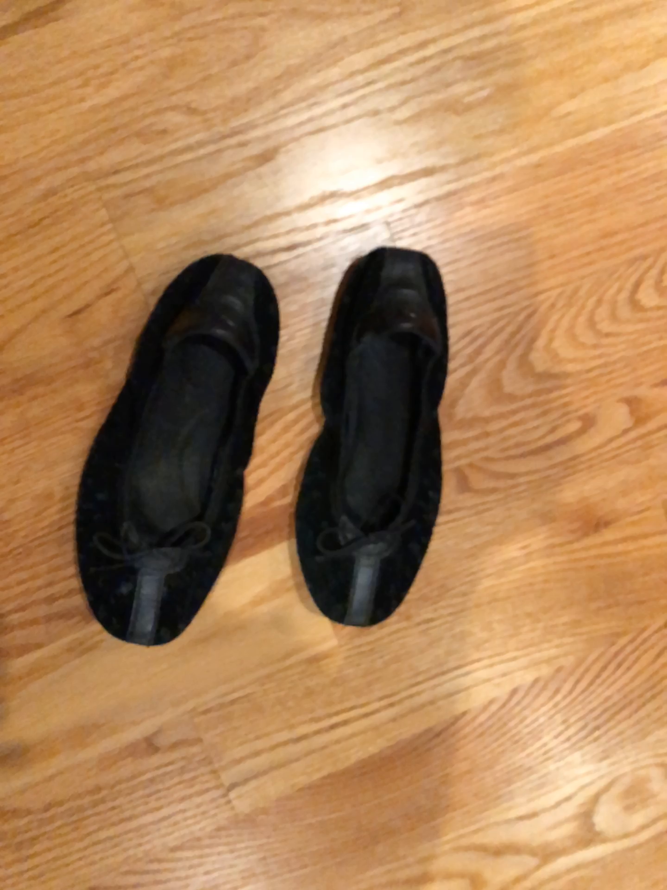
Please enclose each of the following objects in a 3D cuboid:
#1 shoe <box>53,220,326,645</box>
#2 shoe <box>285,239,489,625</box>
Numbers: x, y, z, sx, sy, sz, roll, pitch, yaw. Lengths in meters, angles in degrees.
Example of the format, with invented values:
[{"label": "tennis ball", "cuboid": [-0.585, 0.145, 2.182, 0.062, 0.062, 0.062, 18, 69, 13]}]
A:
[{"label": "shoe", "cuboid": [-0.084, -0.005, 0.436, 0.100, 0.050, 0.220, 14, 96, -12]}, {"label": "shoe", "cuboid": [0.029, -0.005, 0.456, 0.093, 0.046, 0.220, 4, 98, -11]}]
